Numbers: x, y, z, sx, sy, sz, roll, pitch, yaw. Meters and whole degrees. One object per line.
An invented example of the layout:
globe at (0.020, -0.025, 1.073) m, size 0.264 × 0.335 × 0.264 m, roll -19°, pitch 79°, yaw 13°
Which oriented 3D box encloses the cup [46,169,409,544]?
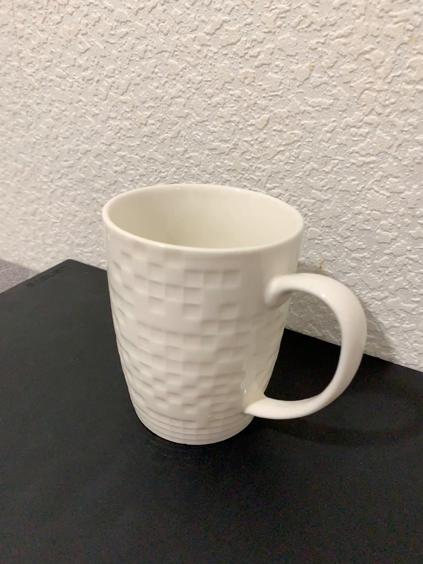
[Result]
cup at (0.005, 0.019, 0.200) m, size 0.120 × 0.105 × 0.081 m, roll 20°, pitch 34°, yaw 30°
